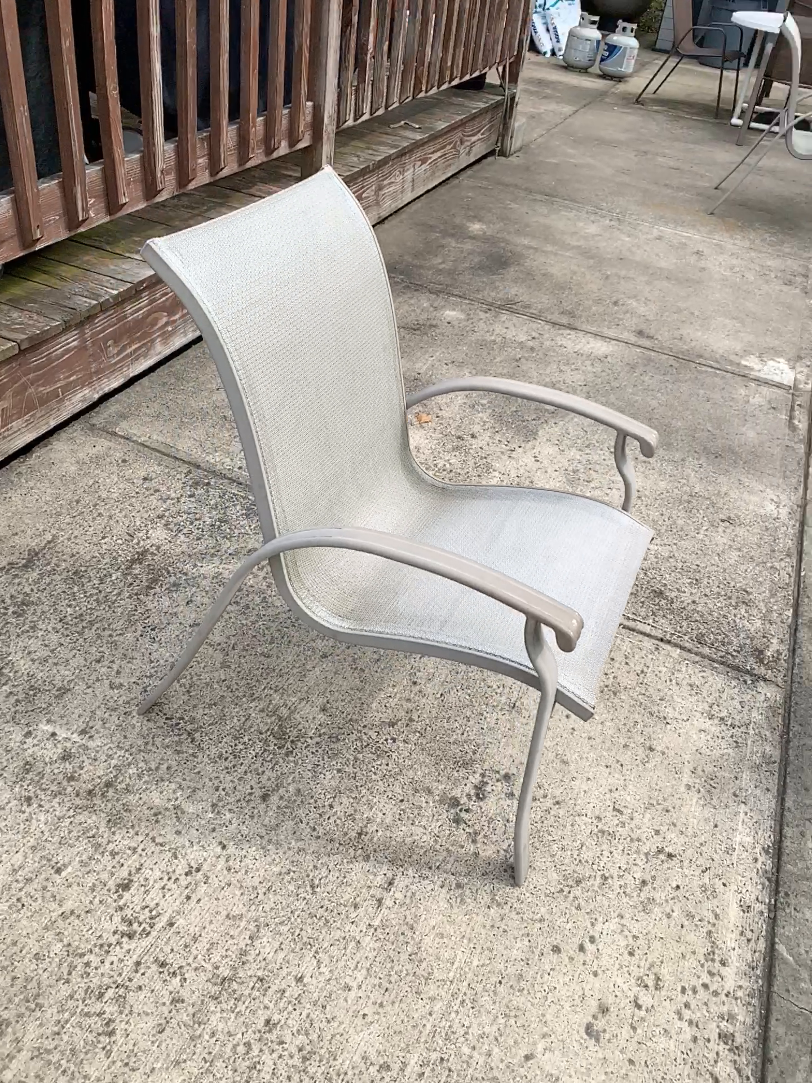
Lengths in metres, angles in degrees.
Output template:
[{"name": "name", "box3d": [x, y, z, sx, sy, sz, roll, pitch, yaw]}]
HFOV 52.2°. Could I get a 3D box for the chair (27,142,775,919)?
[{"name": "chair", "box3d": [0.012, -0.054, 1.355, 0.791, 0.845, 0.653, 20, 40, 15]}]
